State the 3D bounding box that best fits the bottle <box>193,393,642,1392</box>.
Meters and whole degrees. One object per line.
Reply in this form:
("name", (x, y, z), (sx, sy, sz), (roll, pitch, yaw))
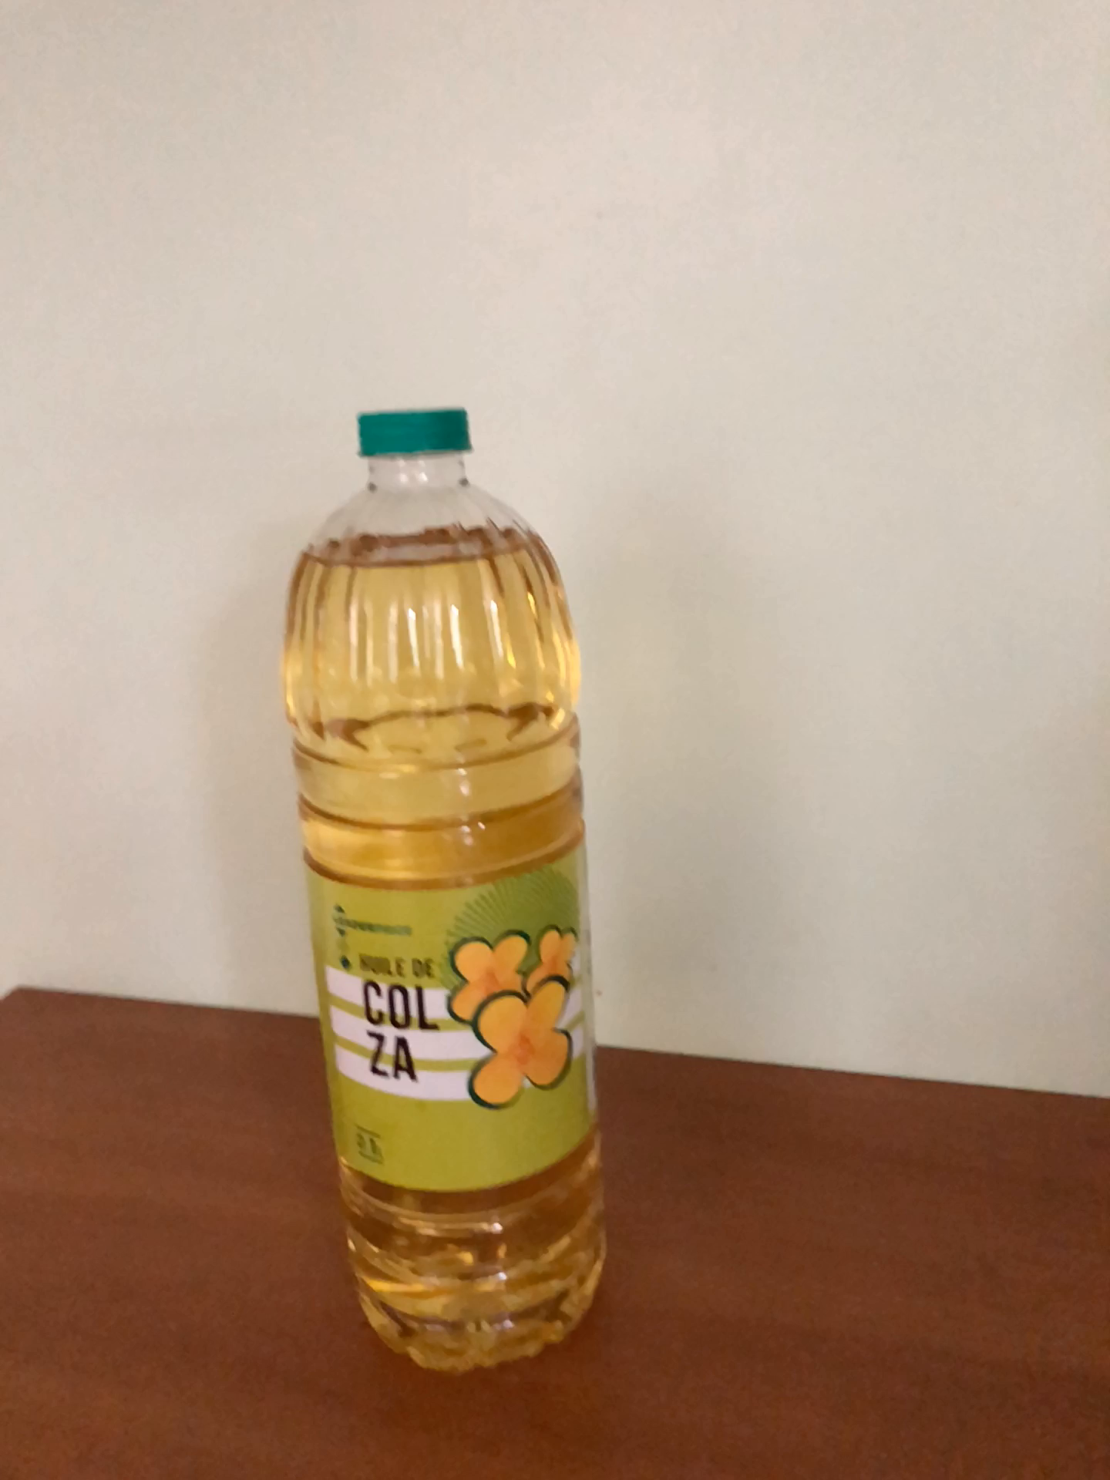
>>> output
("bottle", (-0.026, 0.043, 0.355), (0.090, 0.269, 0.090), (-3, 17, 1))
